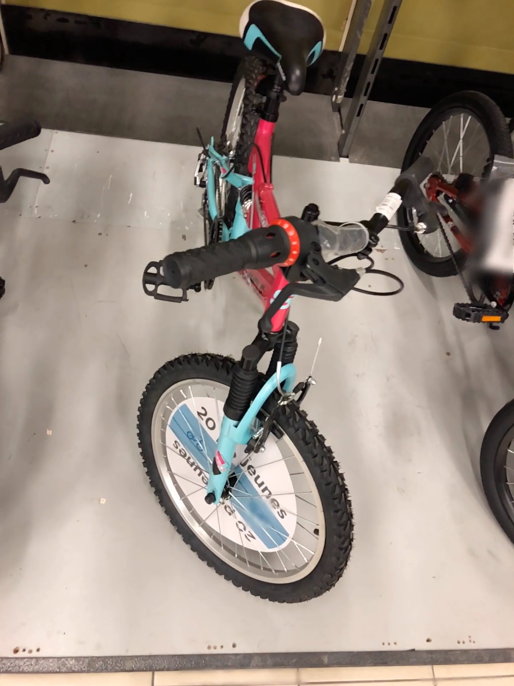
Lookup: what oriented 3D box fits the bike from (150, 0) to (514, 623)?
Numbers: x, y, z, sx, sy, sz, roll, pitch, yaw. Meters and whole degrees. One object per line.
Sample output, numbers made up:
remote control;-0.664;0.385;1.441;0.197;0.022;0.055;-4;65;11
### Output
bike;0.109;-0.178;1.122;0.563;0.765;1.218;-2;61;-12
